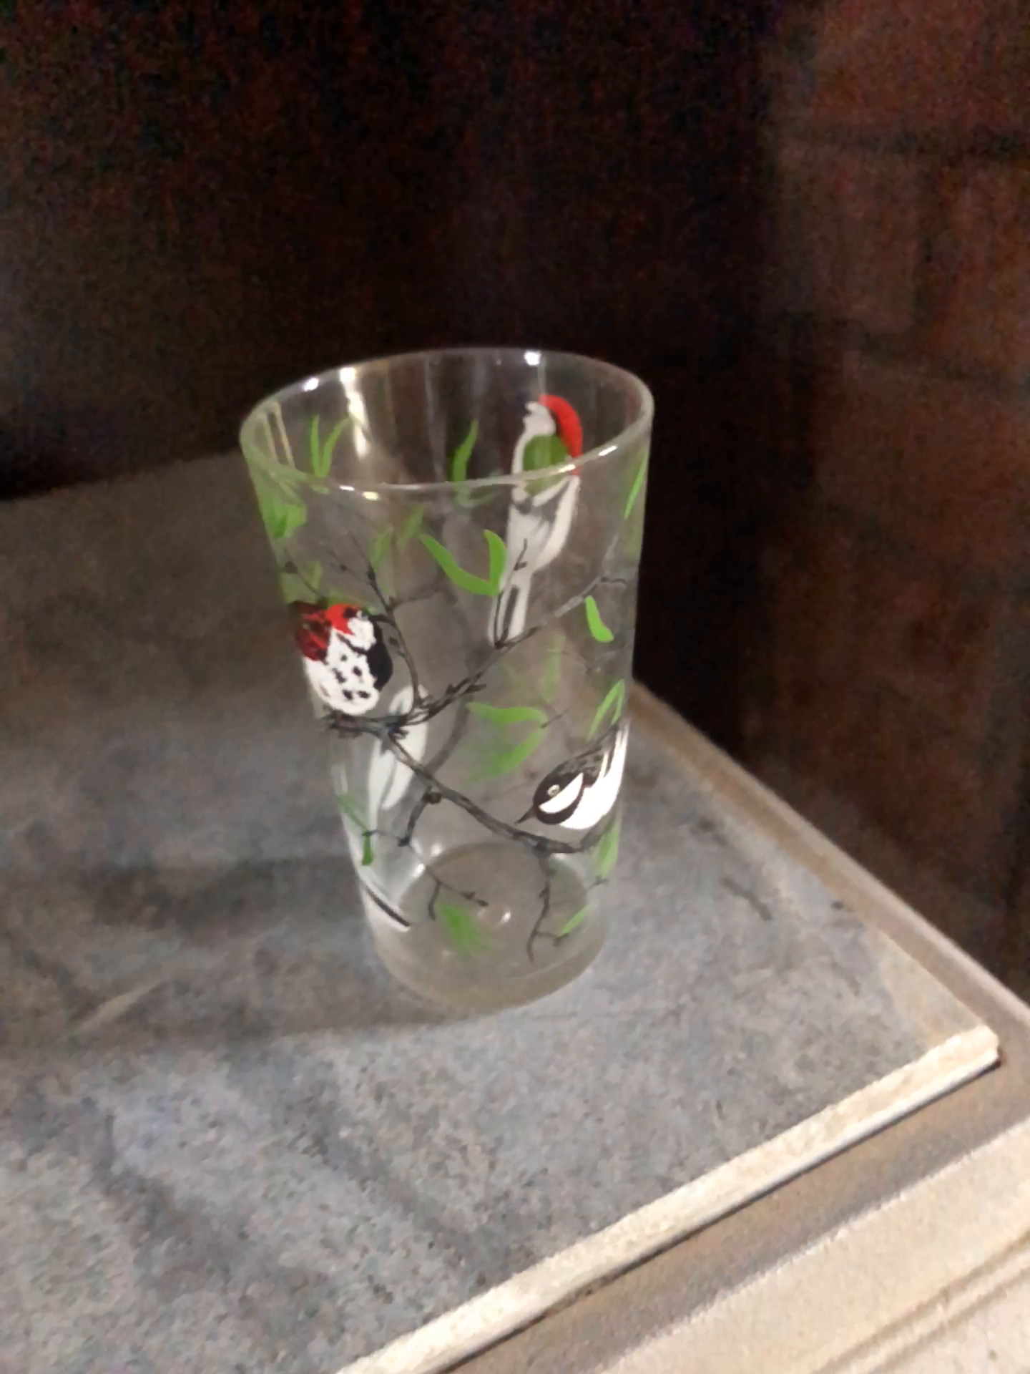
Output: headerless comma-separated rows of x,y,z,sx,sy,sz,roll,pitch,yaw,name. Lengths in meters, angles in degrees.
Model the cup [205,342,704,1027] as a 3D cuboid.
-0.005,0.001,0.217,0.070,0.109,0.060,-2,32,3,cup
